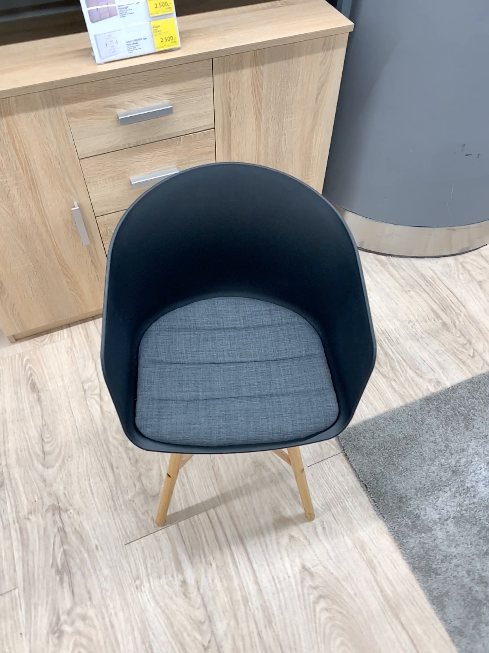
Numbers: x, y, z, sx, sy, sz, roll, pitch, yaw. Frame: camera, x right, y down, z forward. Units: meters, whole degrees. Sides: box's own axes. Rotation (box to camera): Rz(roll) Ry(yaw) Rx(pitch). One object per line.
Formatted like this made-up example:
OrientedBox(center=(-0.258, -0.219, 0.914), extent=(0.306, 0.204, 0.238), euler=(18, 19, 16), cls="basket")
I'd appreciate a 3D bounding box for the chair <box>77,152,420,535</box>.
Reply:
OrientedBox(center=(-0.014, 0.092, 1.218), extent=(0.510, 0.787, 0.552), euler=(-3, 53, -3), cls="chair")
